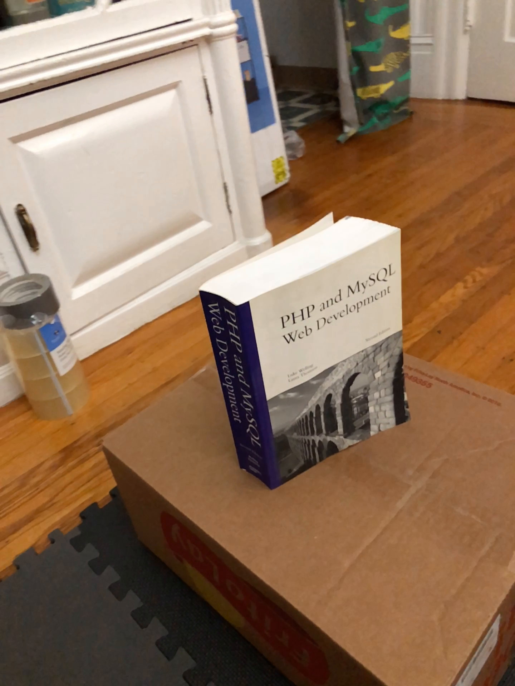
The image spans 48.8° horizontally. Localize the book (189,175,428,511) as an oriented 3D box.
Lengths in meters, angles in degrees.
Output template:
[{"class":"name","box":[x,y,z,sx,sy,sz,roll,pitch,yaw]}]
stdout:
[{"class":"book","box":[0.064,0.000,0.566,0.201,0.258,0.090,-32,42,-28]}]
